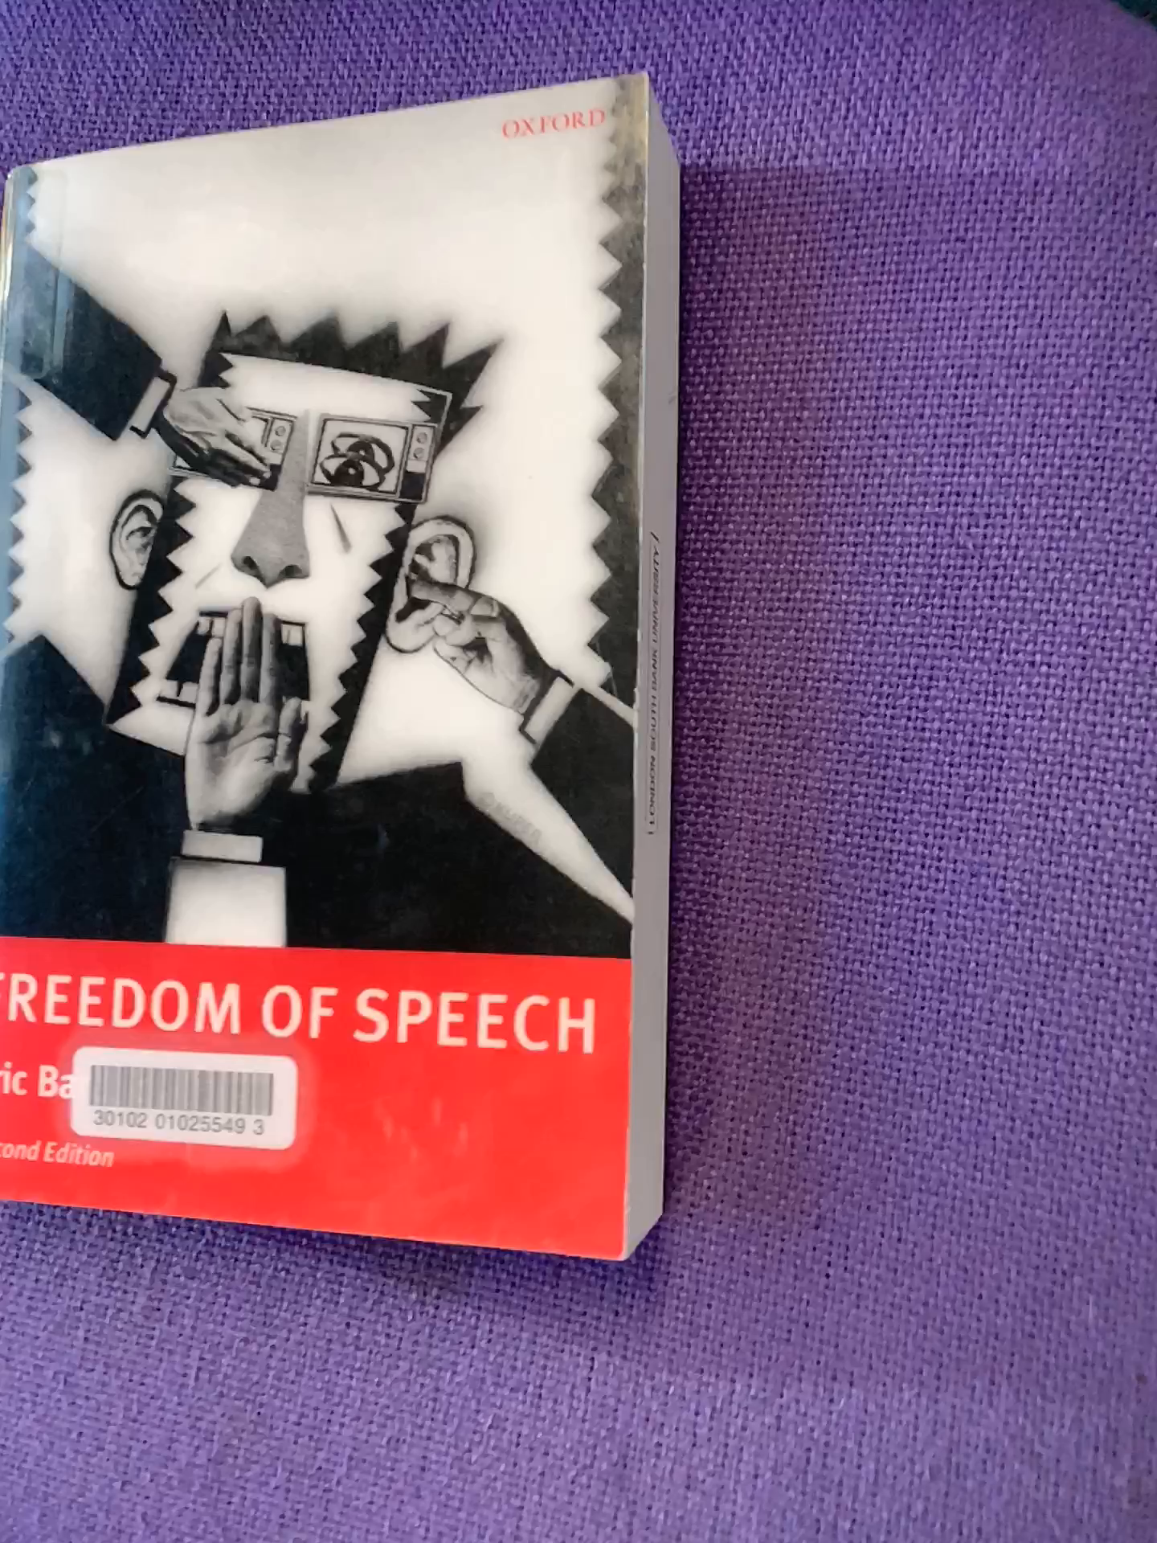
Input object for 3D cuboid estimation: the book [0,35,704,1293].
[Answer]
[{"bbox_3d":[-0.055,-0.026,0.273,0.160,0.050,0.250,0,83,12],"label":"book"}]
